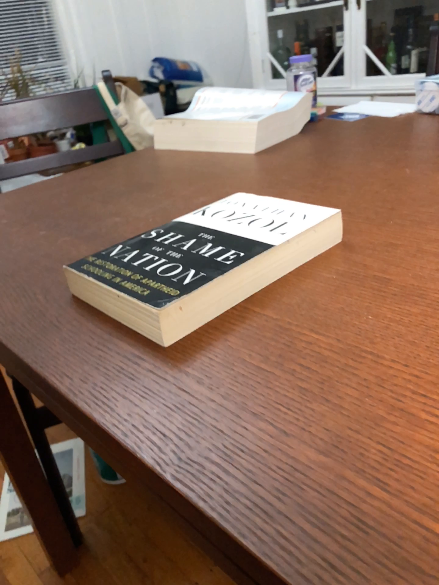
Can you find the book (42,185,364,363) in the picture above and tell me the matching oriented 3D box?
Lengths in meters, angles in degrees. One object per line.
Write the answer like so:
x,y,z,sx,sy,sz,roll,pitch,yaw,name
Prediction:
-0.009,-0.036,0.424,0.231,0.030,0.160,-29,34,-33,book
